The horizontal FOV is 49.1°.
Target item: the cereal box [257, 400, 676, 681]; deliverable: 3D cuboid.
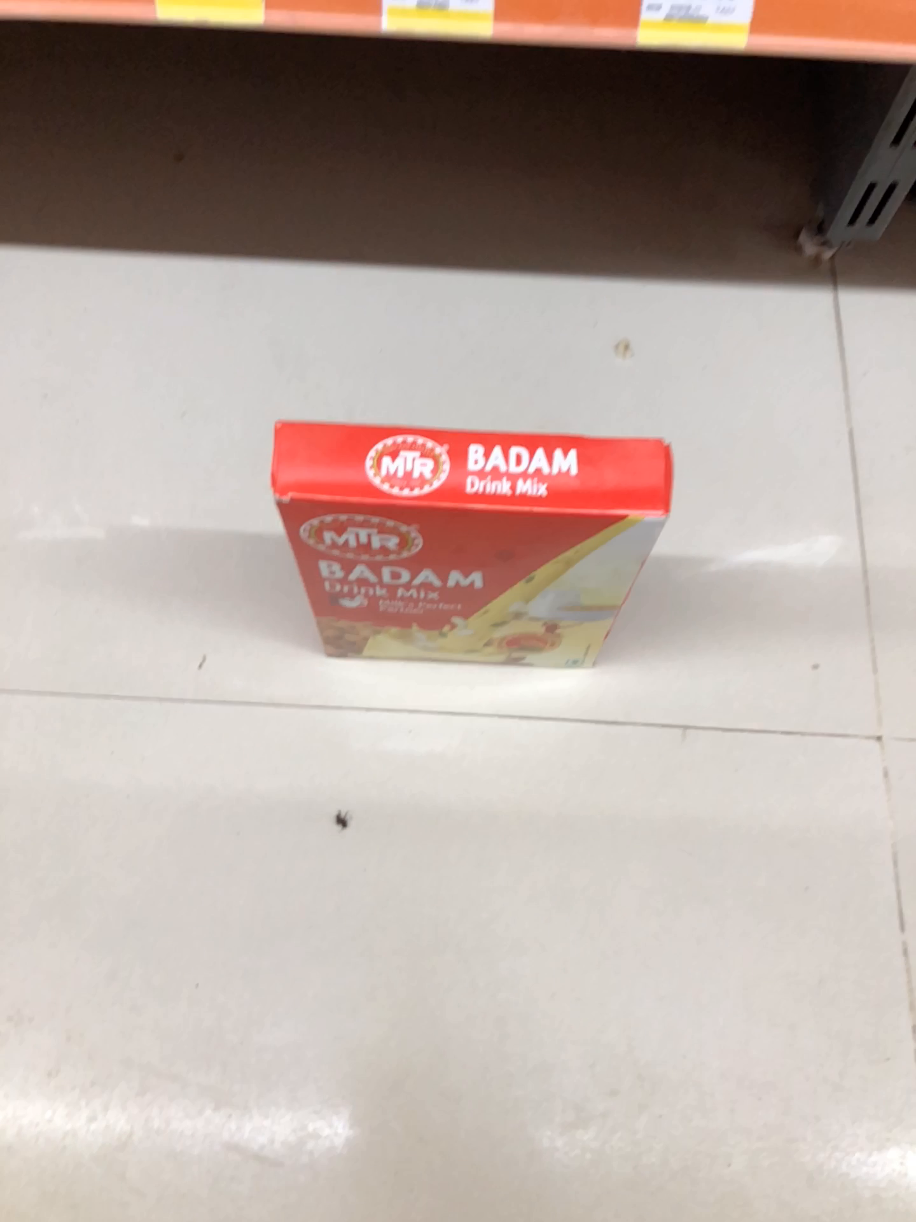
[{"bbox_3d":[0.002,-0.018,0.393,0.130,0.160,0.040,2,68,0],"label":"cereal box"}]
